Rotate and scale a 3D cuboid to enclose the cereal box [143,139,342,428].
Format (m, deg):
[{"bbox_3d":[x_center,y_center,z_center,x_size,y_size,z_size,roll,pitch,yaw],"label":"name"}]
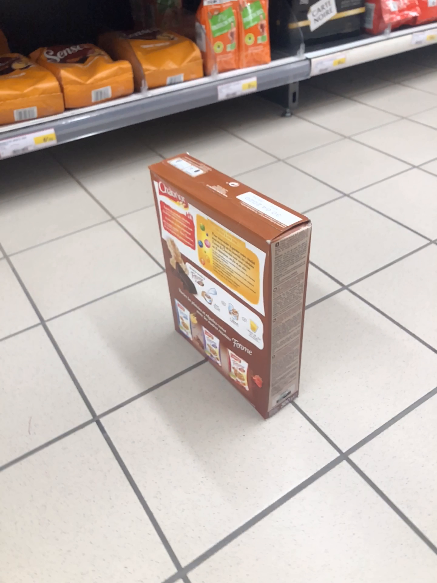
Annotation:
[{"bbox_3d":[0.018,-0.010,0.540,0.070,0.249,0.210,-28,45,-28],"label":"cereal box"}]
